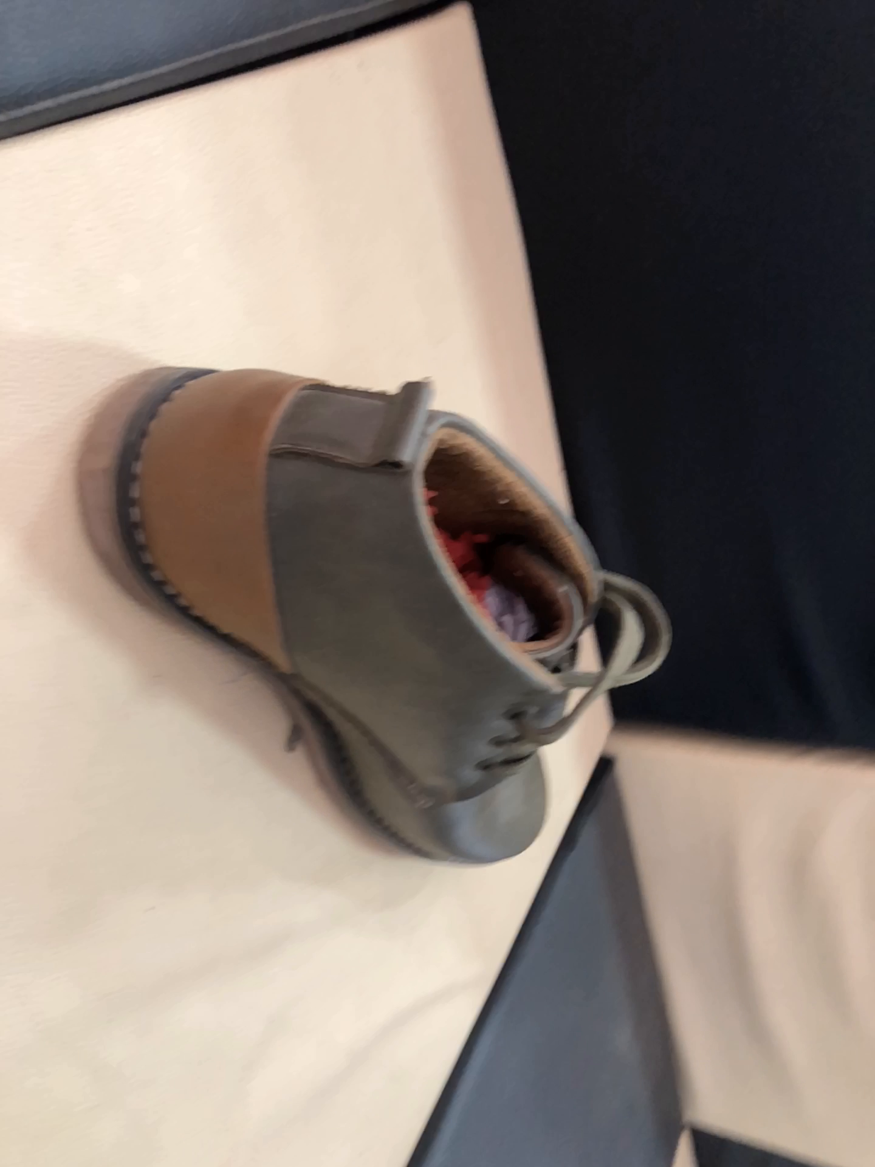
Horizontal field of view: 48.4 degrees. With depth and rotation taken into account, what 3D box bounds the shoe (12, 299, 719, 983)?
[{"bbox_3d":[0.012,0.046,0.323,0.282,0.099,0.080,55,47,-48],"label":"shoe"}]
